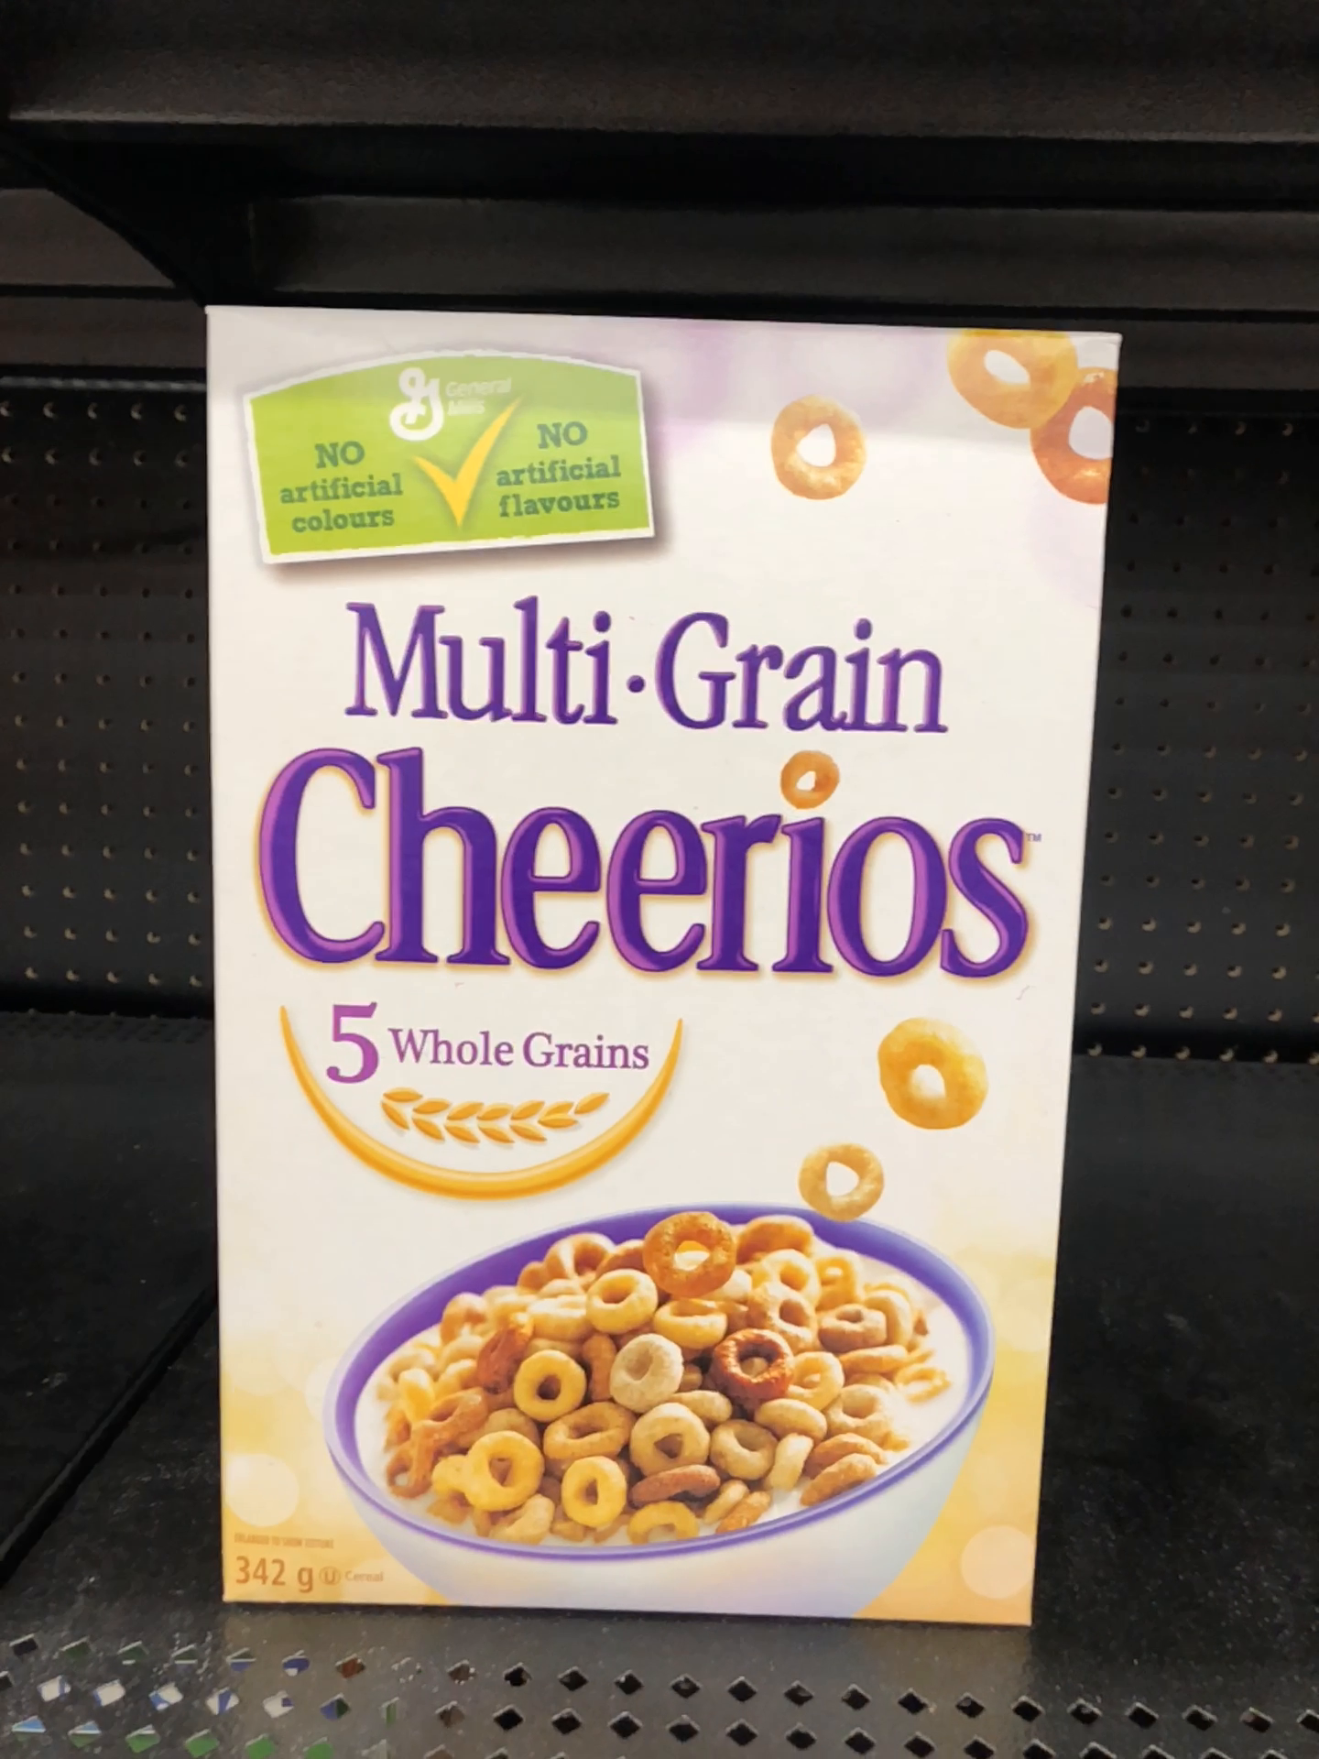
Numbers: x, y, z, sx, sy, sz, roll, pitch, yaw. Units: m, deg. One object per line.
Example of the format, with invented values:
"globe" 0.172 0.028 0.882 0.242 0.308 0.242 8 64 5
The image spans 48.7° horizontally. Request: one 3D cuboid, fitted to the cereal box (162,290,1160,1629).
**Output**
"cereal box" -0.003 0.021 0.349 0.200 0.289 0.070 1 9 1
